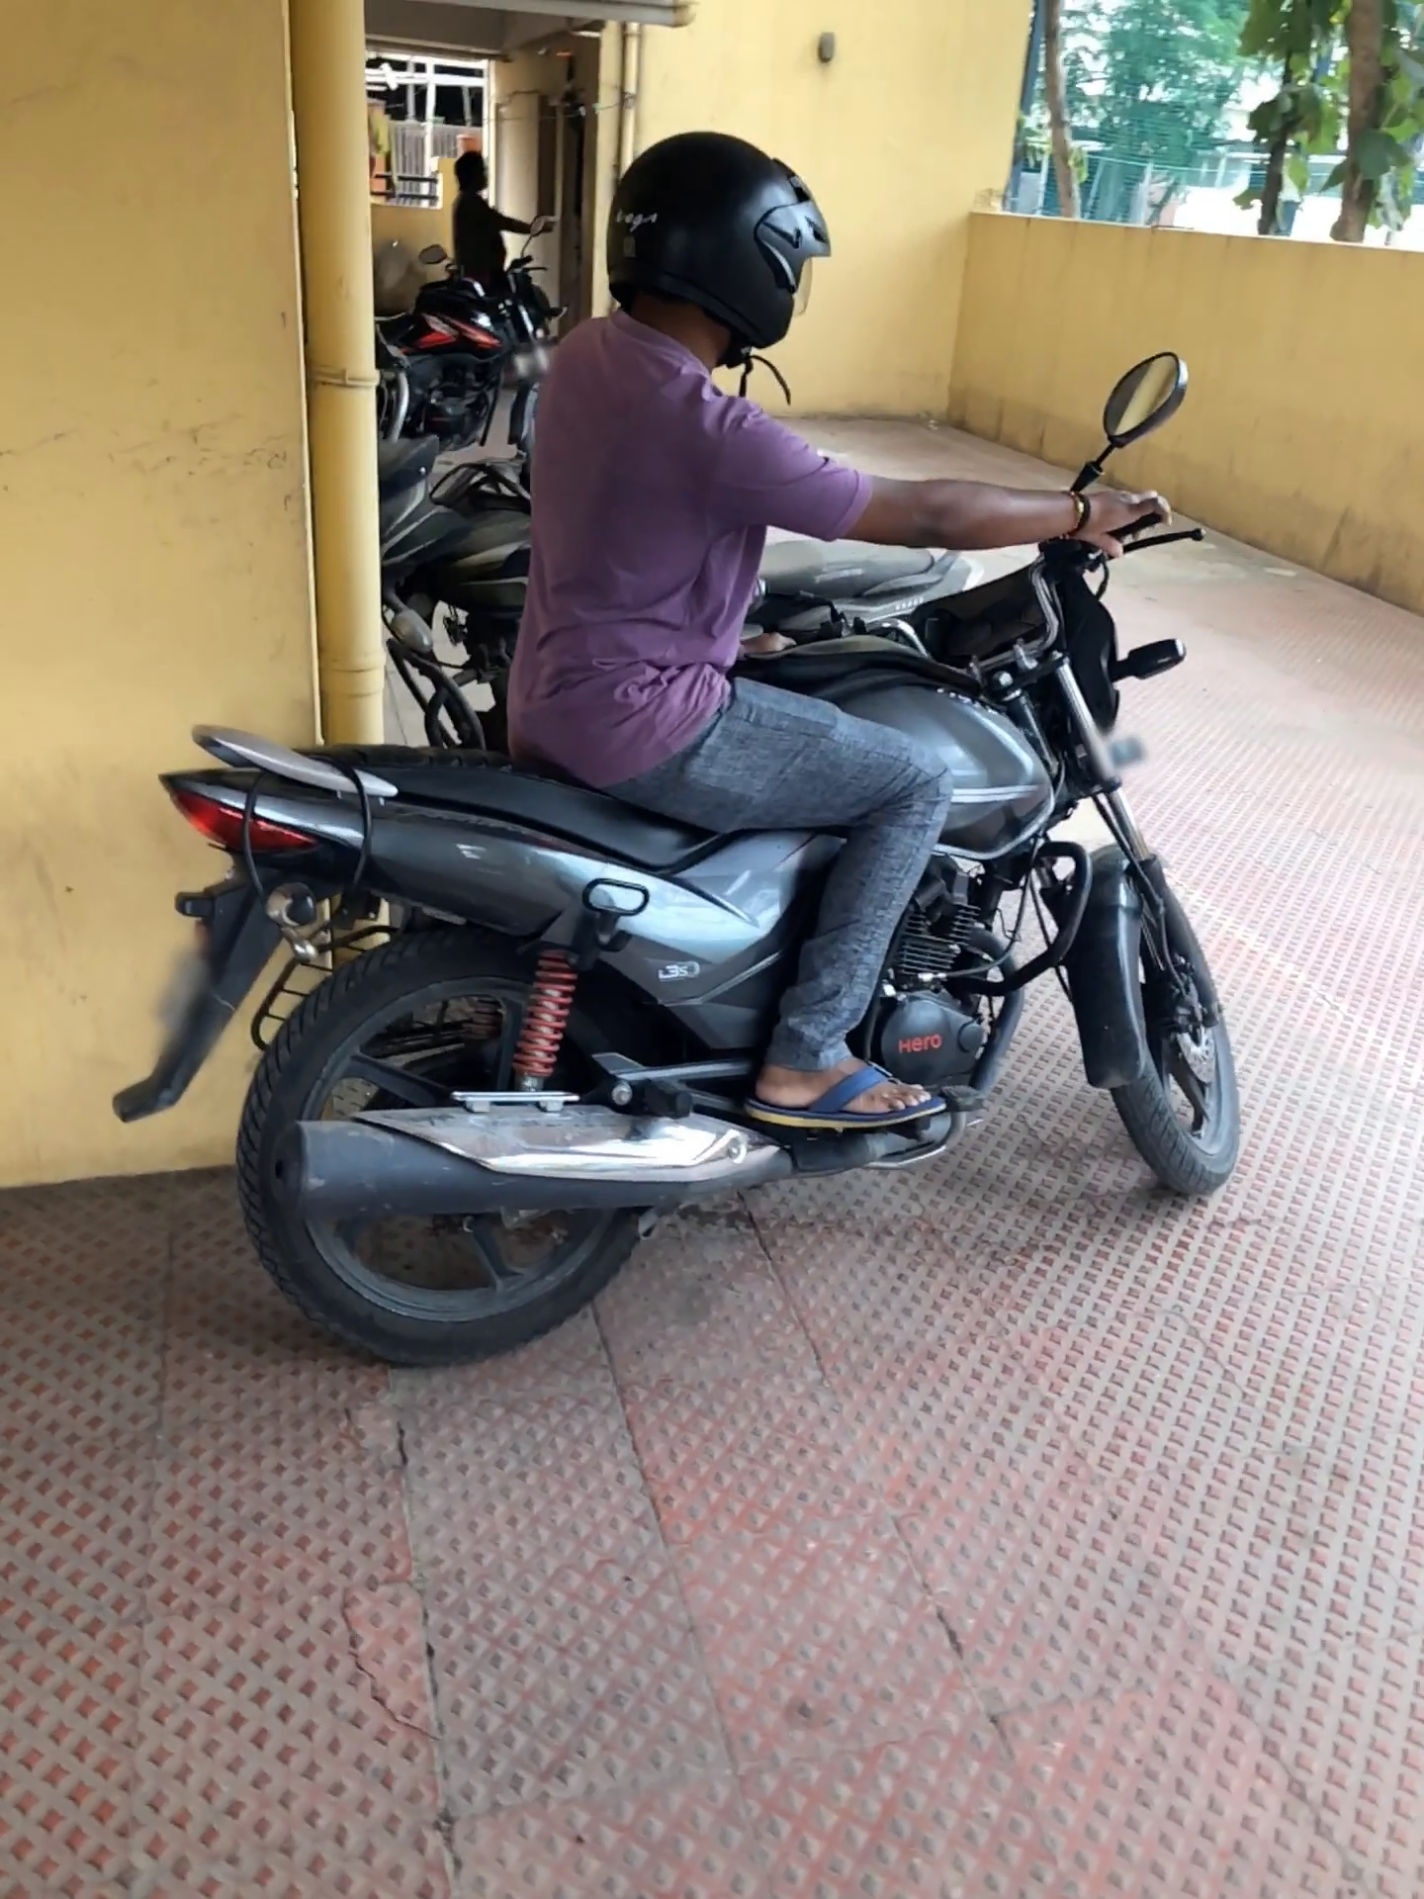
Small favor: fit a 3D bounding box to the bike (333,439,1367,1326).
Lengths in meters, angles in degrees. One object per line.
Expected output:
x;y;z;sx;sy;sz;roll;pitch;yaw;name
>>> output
0.158;-0.166;2.370;1.238;0.999;0.702;-7;28;-27;bike
